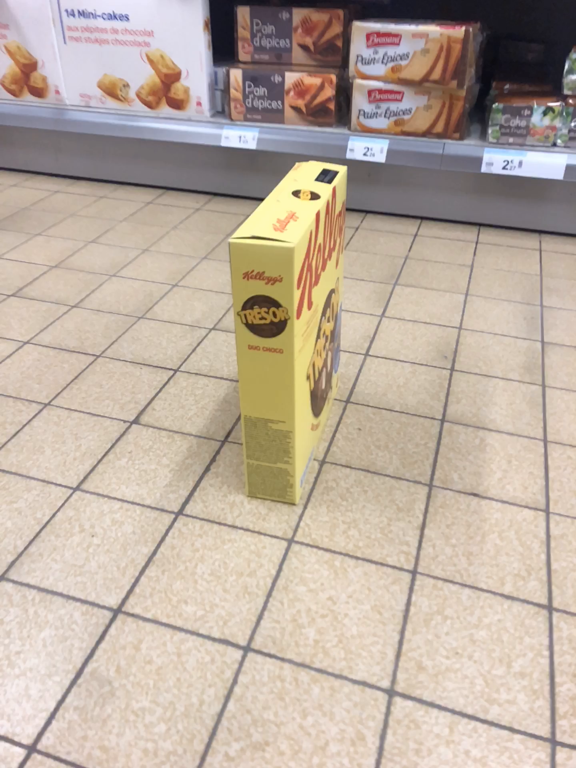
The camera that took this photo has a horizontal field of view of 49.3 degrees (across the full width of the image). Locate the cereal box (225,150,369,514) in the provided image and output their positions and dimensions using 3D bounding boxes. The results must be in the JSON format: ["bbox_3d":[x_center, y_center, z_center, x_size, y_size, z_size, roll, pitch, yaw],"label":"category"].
[{"bbox_3d":[0.014,-0.051,0.539,0.060,0.239,0.201,9,35,12],"label":"cereal box"}]
